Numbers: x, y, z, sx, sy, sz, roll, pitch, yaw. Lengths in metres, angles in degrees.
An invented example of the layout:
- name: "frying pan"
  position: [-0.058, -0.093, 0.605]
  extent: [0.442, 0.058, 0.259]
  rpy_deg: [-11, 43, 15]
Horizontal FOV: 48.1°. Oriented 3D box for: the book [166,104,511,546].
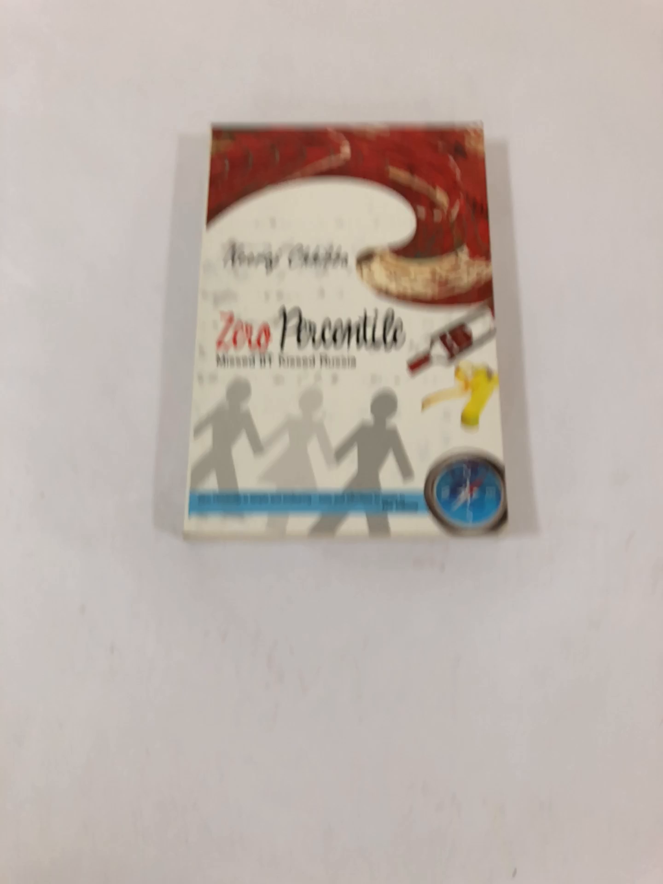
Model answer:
- name: "book"
  position: [0.005, -0.057, 0.324]
  extent: [0.132, 0.021, 0.200]
  rpy_deg: [1, 72, 1]
